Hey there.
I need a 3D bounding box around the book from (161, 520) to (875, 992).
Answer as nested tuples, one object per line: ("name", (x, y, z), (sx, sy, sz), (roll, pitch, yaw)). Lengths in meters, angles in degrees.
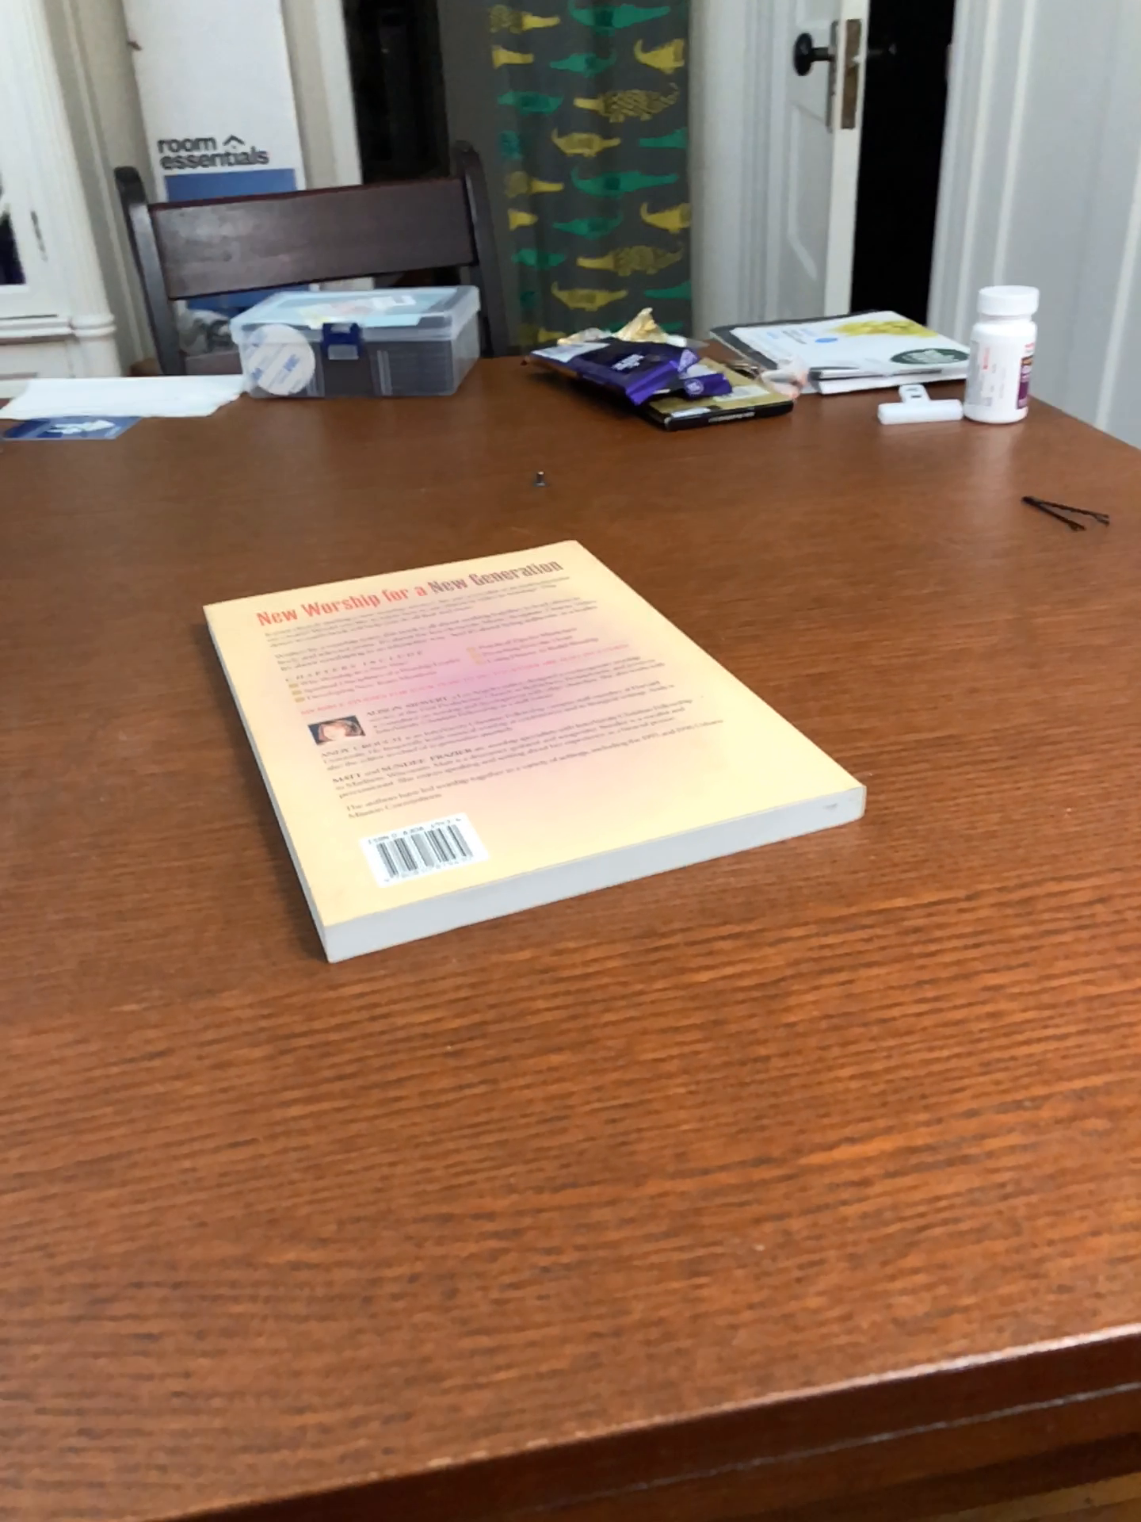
("book", (-0.042, -0.027, 0.485), (0.190, 0.020, 0.271), (-14, 32, -18))
